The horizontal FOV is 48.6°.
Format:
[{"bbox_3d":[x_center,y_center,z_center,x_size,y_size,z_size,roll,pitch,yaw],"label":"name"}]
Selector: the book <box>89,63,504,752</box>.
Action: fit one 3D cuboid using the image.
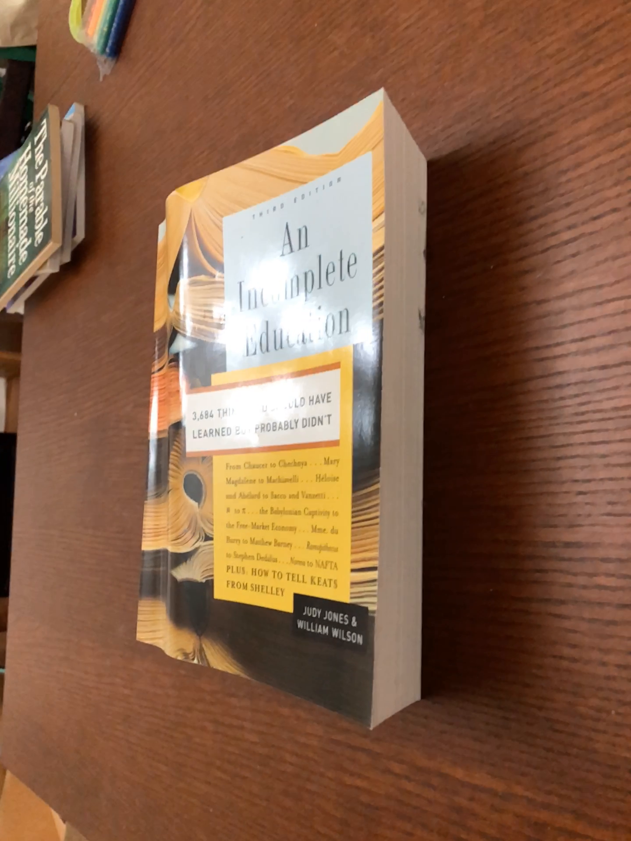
[{"bbox_3d":[-0.023,-0.001,0.343,0.211,0.060,0.250,-6,80,42],"label":"book"}]
